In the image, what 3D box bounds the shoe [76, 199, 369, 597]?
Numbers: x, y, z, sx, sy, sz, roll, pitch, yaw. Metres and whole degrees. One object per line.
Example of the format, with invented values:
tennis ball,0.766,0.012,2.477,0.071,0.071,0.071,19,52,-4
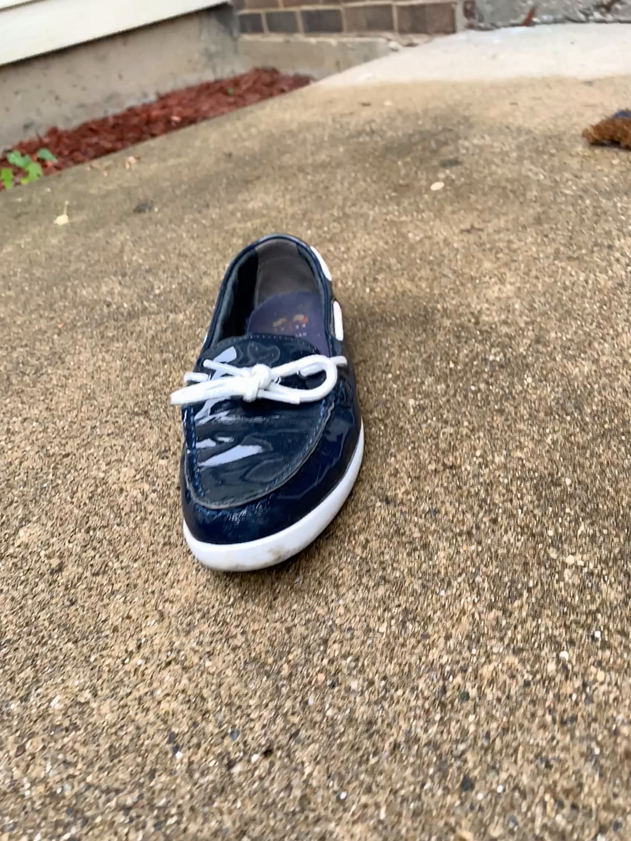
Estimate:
shoe,-0.027,-0.032,0.364,0.101,0.083,0.246,-6,37,10
